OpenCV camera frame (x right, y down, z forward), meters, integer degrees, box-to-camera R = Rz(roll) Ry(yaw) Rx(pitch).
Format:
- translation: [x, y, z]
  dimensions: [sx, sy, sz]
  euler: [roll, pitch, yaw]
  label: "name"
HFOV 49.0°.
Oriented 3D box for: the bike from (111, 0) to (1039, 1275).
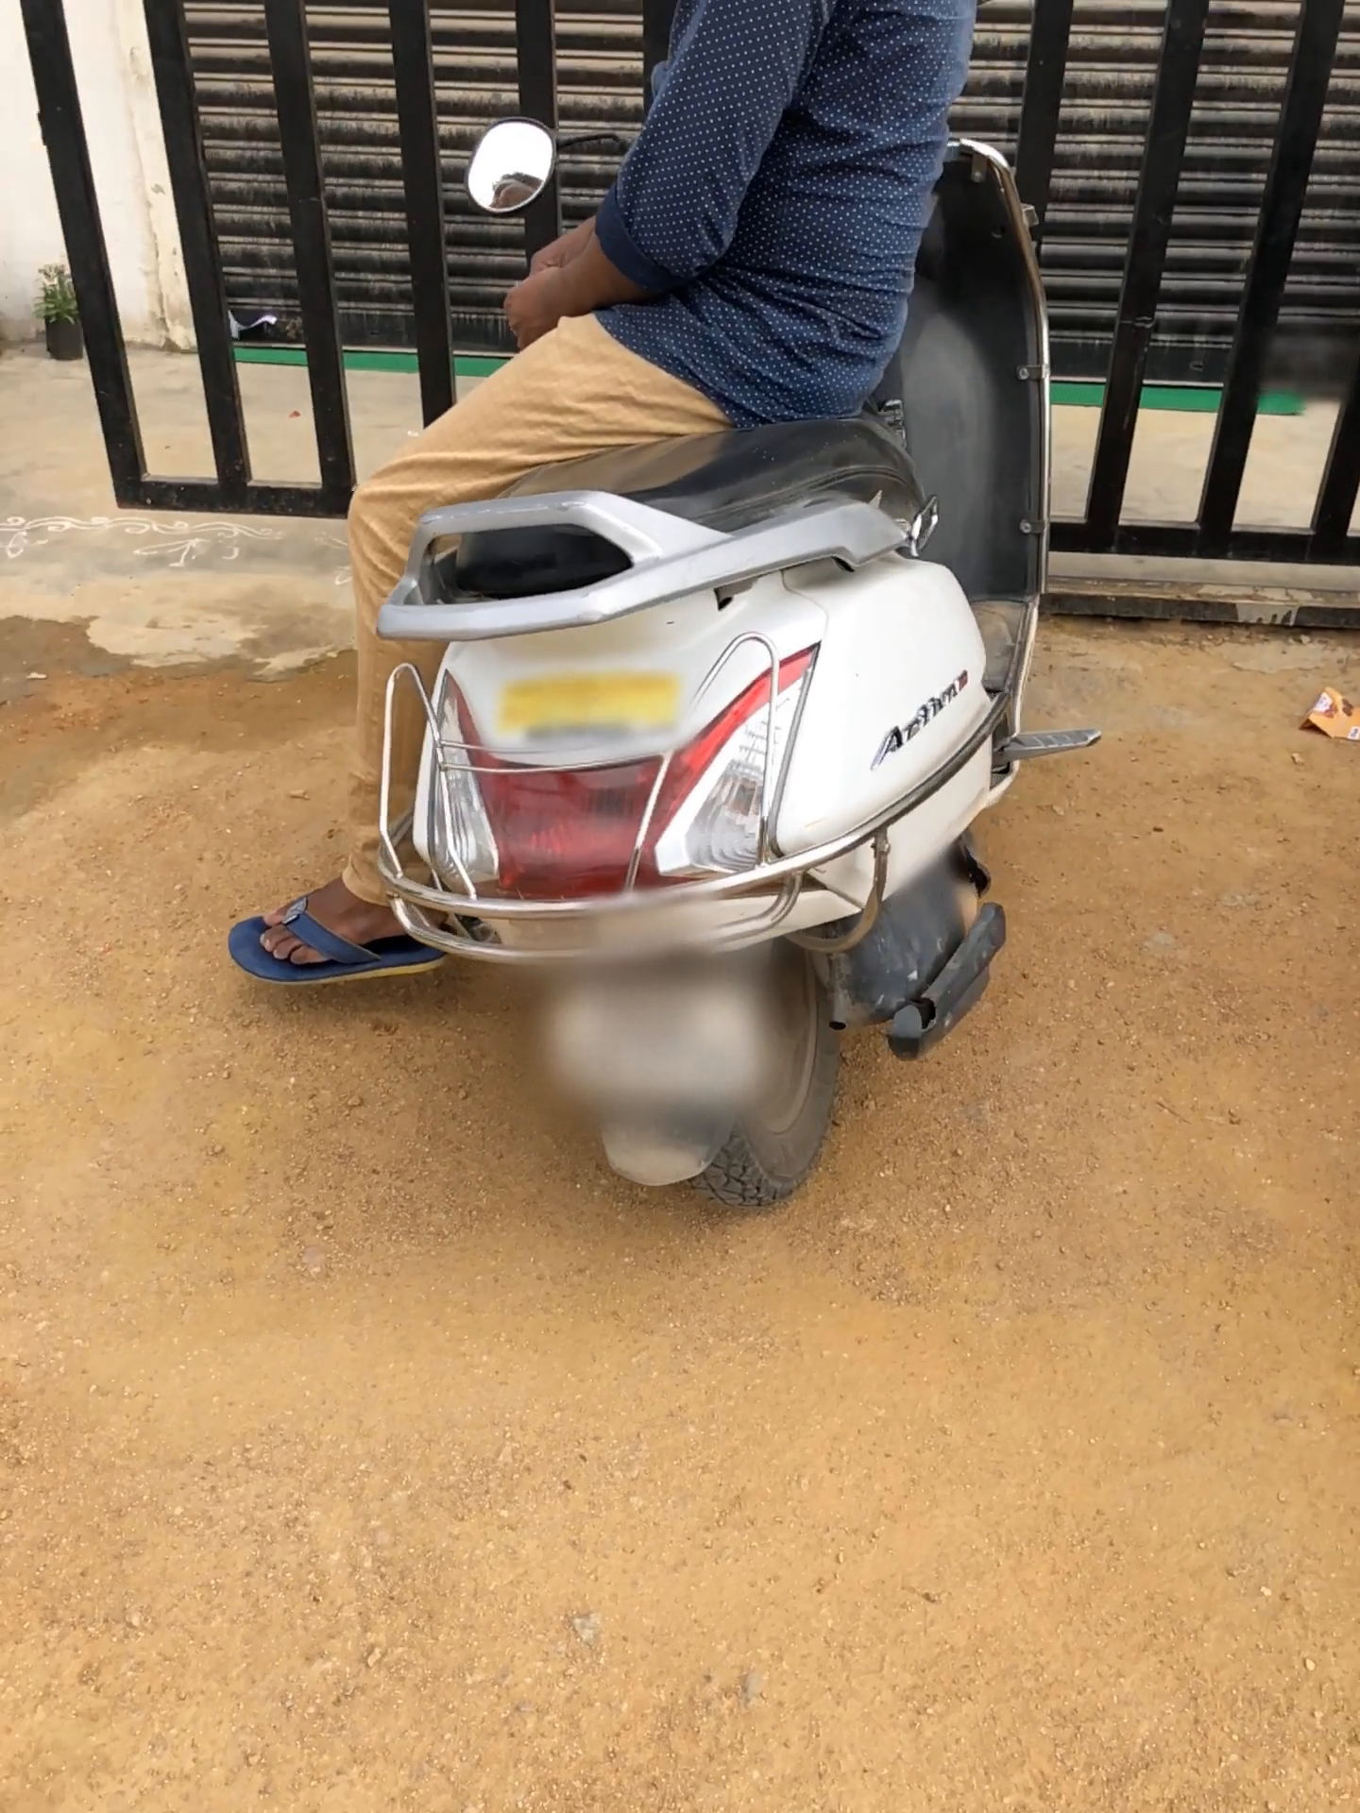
- translation: [0.054, -0.596, 1.952]
  dimensions: [0.649, 1.069, 1.656]
  euler: [7, 35, 9]
  label: "bike"
